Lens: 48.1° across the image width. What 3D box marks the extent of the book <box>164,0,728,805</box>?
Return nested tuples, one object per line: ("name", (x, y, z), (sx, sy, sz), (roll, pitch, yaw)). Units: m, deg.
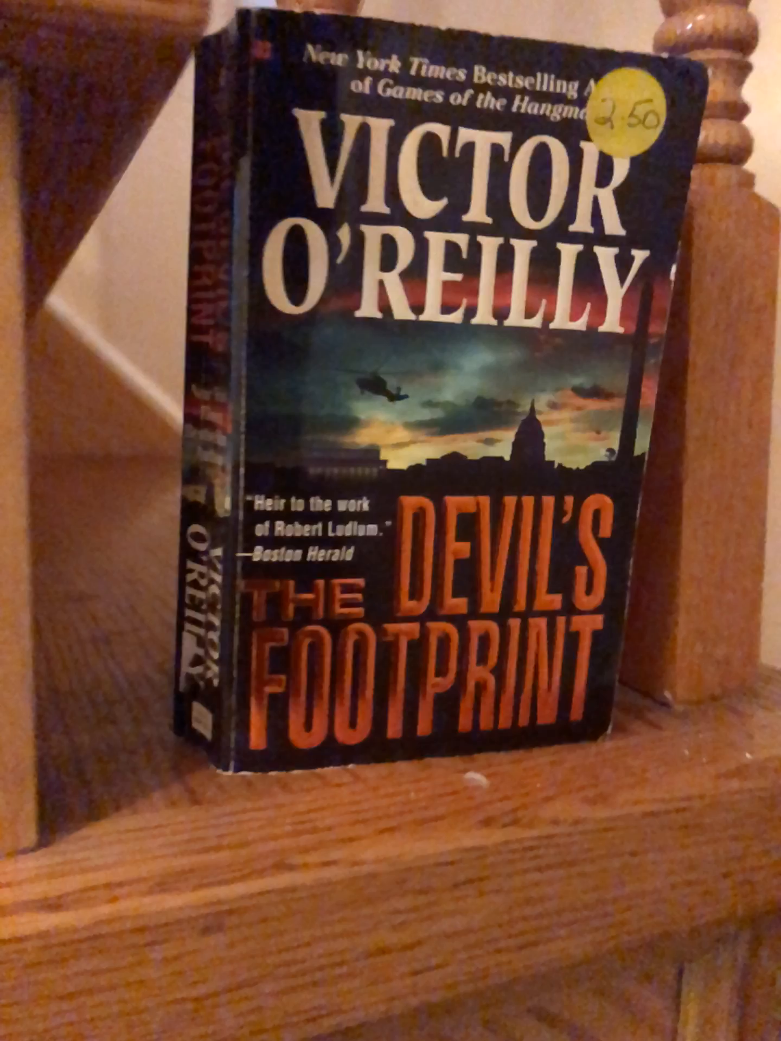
("book", (0.007, -0.025, 0.218), (0.120, 0.170, 0.050), (0, 11, -13))
